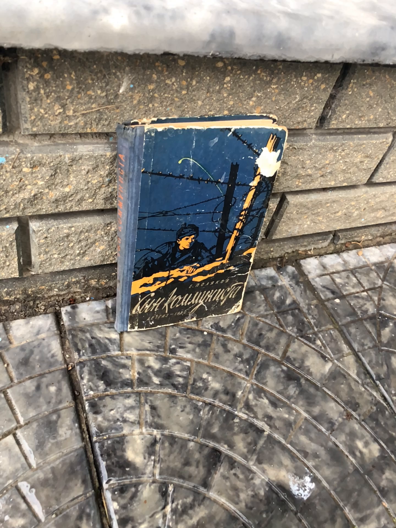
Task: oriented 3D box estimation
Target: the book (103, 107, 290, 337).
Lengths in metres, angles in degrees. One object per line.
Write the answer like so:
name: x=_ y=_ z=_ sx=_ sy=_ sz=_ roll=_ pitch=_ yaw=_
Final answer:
book: x=-0.010 y=-0.033 z=0.395 sx=0.140 sy=0.199 sz=0.040 roll=-7 pitch=38 yaw=-23
